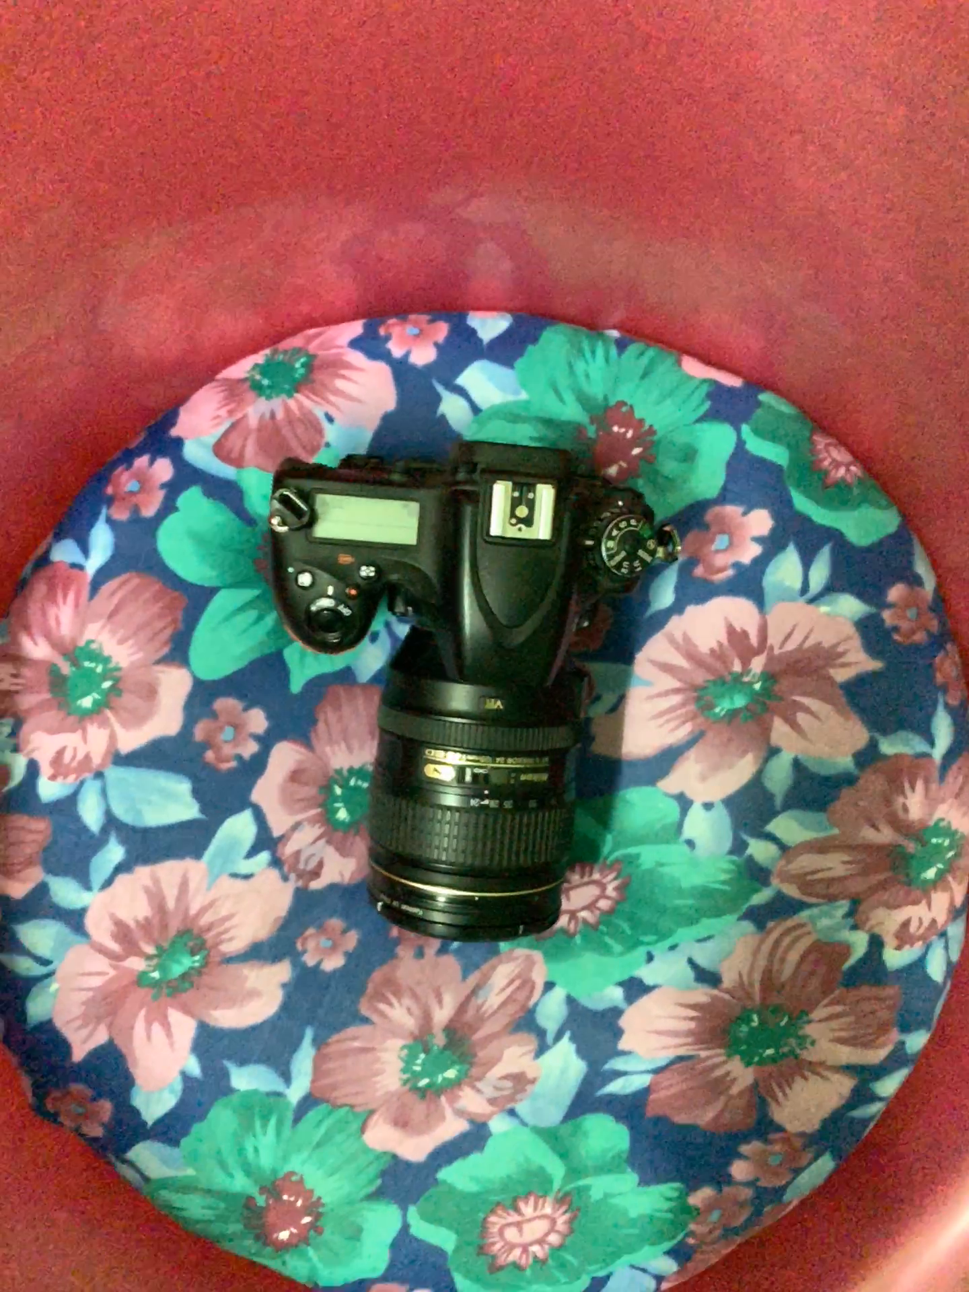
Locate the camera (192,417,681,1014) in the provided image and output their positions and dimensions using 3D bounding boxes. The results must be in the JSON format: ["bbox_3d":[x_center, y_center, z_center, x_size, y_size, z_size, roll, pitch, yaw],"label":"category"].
[{"bbox_3d":[-0.018,0.021,0.372,0.140,0.111,0.180,5,93,-2],"label":"camera"}]
